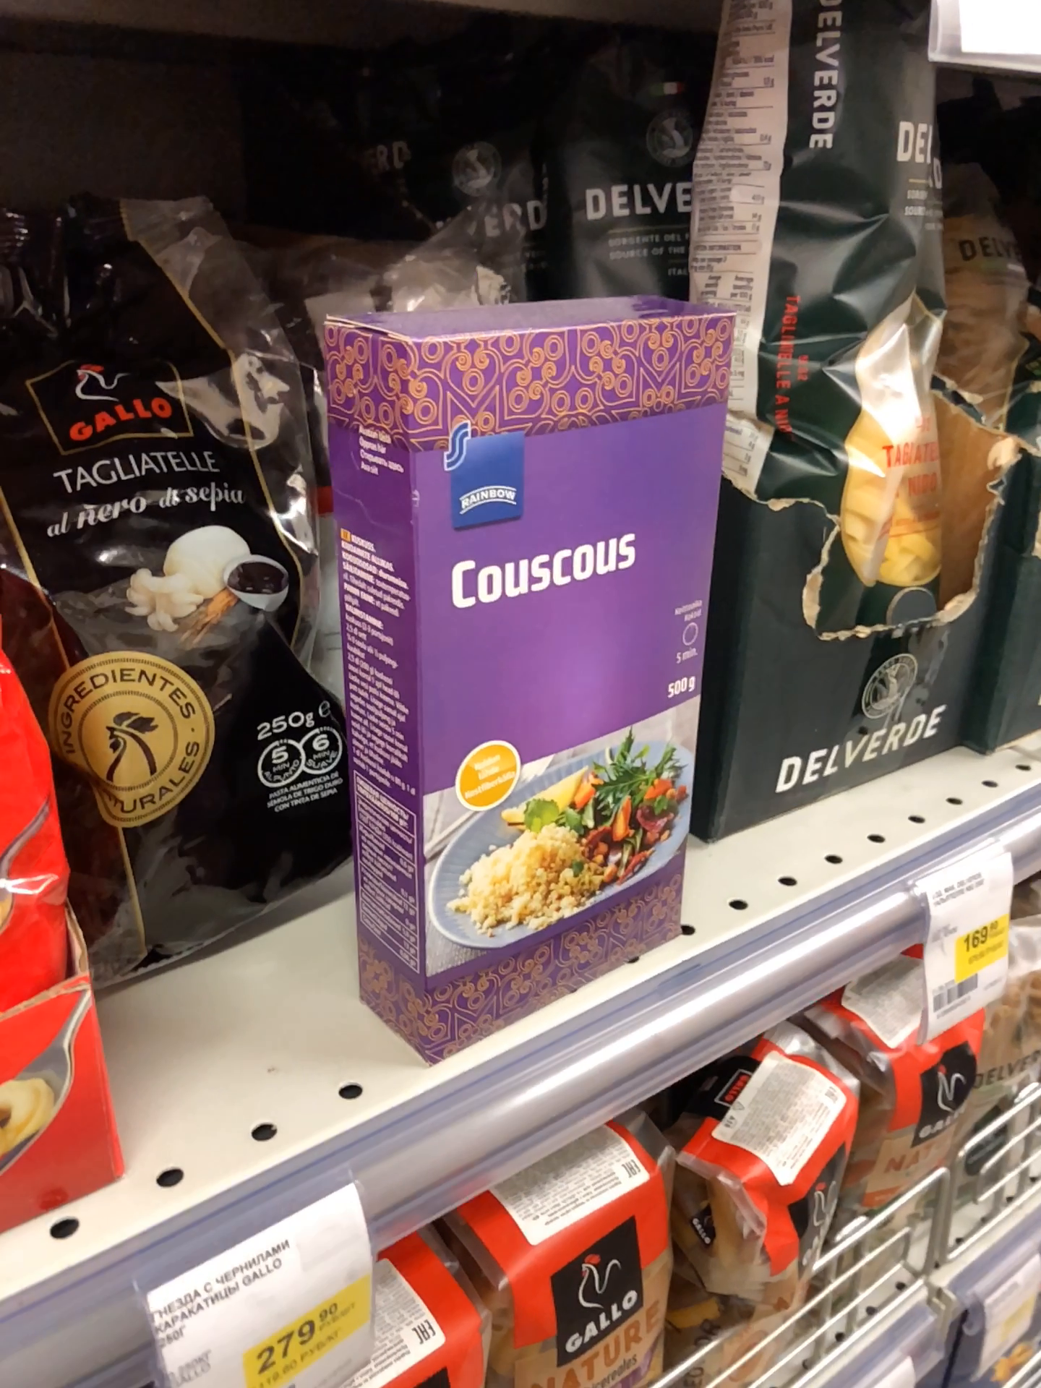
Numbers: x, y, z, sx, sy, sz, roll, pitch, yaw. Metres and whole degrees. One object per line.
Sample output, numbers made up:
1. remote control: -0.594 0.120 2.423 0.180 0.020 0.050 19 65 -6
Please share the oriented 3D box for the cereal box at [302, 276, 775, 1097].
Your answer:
1. cereal box: 0.005 -0.004 0.311 0.110 0.199 0.040 -16 30 -35
